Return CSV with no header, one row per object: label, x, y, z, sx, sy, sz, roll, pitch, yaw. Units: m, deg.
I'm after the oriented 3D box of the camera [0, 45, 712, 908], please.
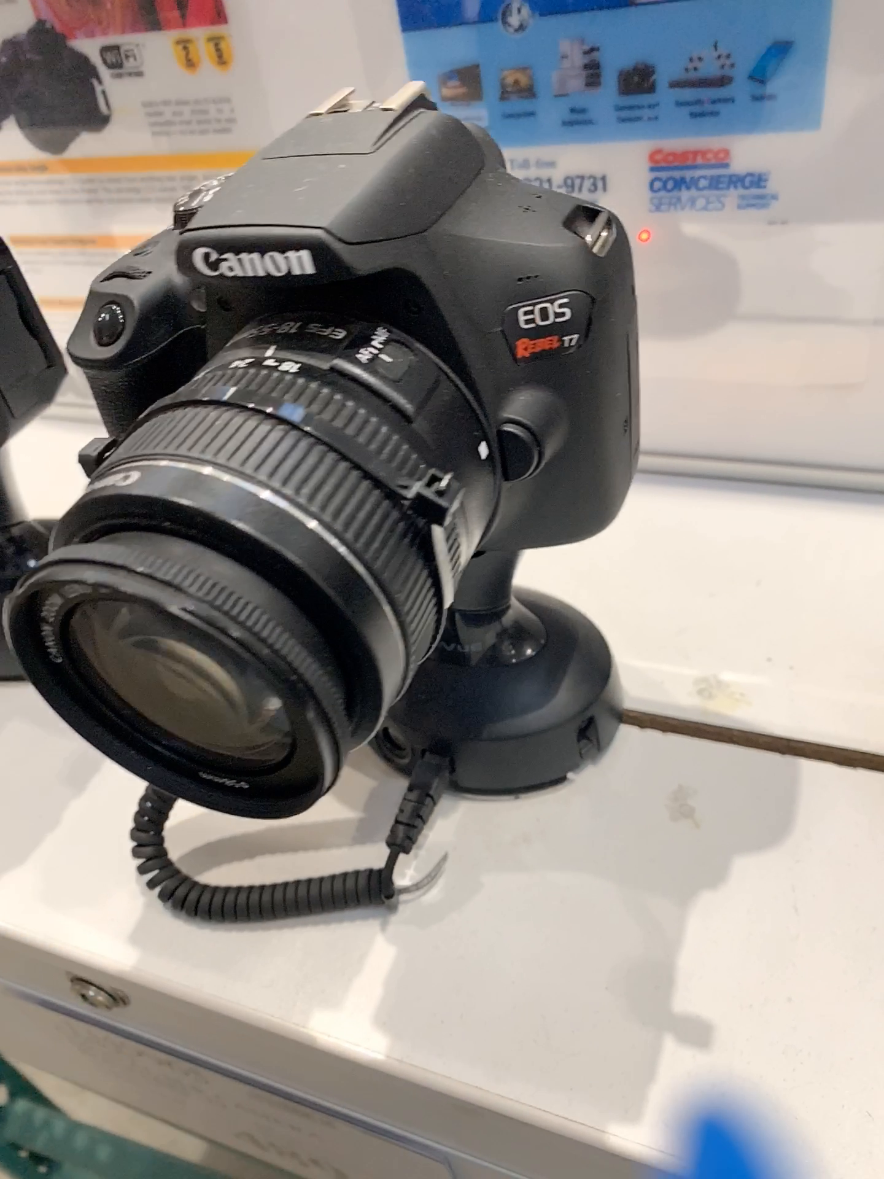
camera,-0.024,-0.037,0.189,0.130,0.089,0.141,8,44,21
